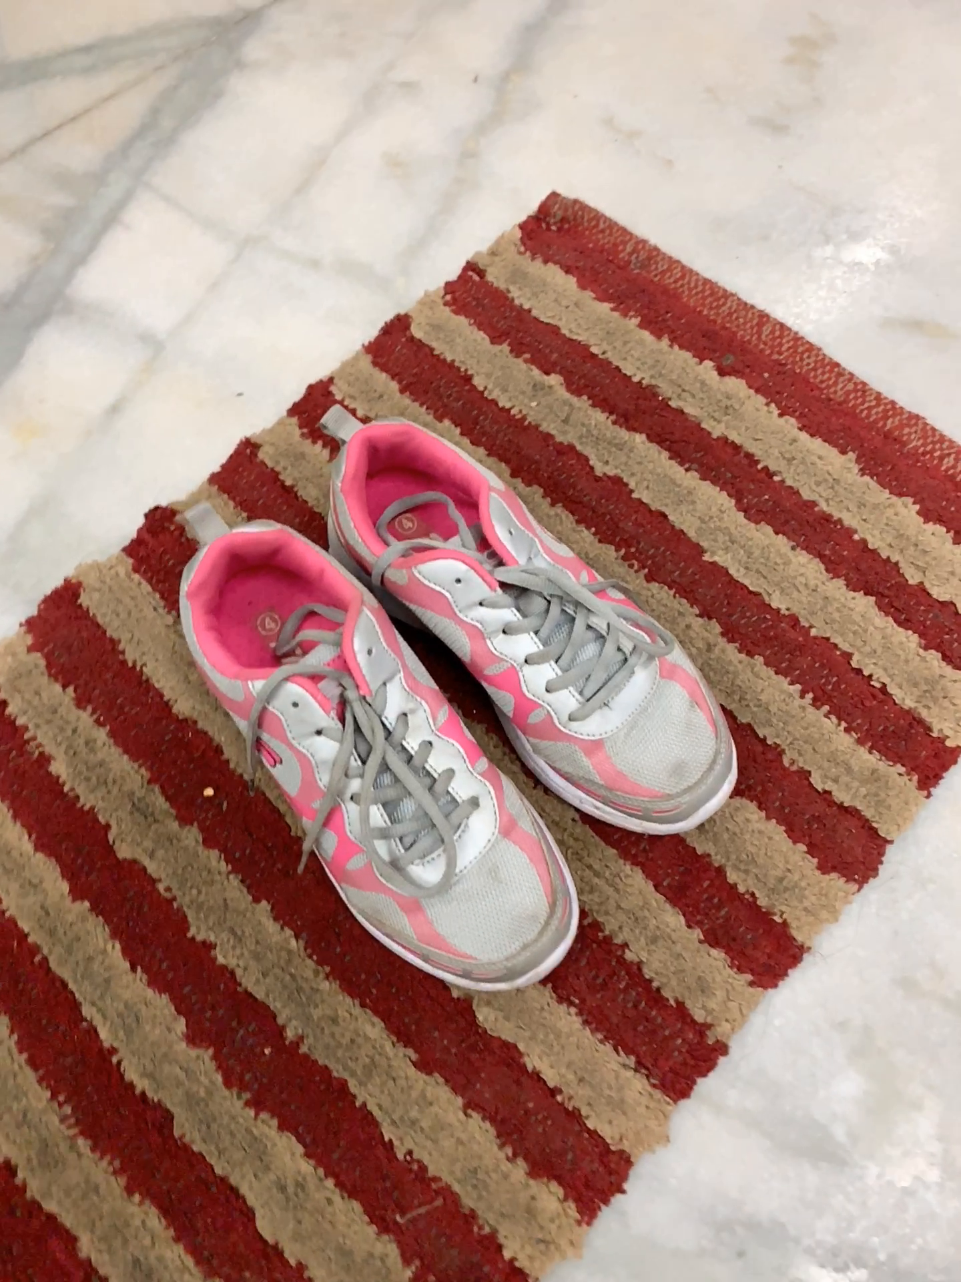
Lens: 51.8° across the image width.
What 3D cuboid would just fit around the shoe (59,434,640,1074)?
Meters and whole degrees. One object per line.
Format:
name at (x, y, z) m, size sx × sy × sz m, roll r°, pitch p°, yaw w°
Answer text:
shoe at (-0.054, 0.044, 0.406) m, size 0.100 × 0.100 × 0.231 m, roll -36°, pitch 69°, yaw -12°

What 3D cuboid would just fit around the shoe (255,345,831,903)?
shoe at (0.020, -0.008, 0.437) m, size 0.090 × 0.100 × 0.231 m, roll -42°, pitch 70°, yaw -14°
